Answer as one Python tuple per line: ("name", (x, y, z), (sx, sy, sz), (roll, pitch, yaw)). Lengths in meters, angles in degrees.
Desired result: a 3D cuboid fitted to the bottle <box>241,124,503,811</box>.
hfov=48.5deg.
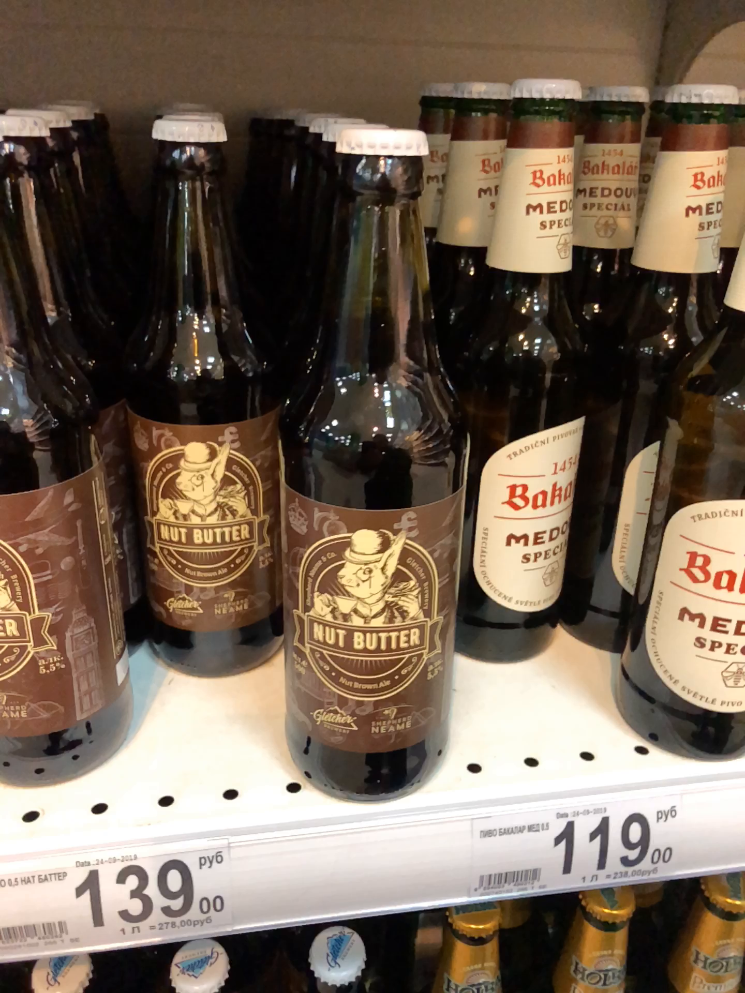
("bottle", (-0.004, -0.001, 0.297), (0.070, 0.240, 0.060), (0, 25, -3))
